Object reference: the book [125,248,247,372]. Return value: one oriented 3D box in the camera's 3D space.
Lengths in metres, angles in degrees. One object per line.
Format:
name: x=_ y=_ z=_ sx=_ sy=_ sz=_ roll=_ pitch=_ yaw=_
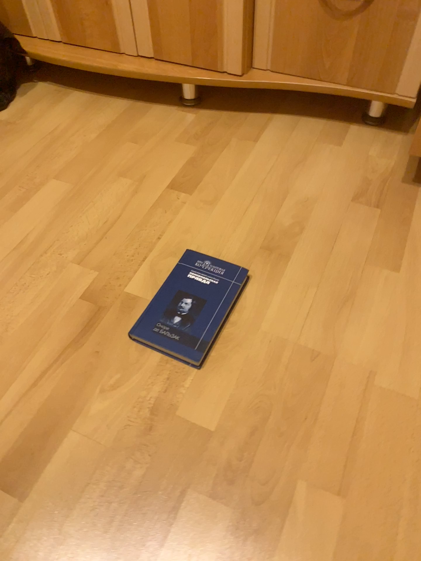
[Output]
book: x=-0.036 y=0.041 z=0.740 sx=0.128 sy=0.030 sz=0.201 roll=19 pitch=55 yaw=18
